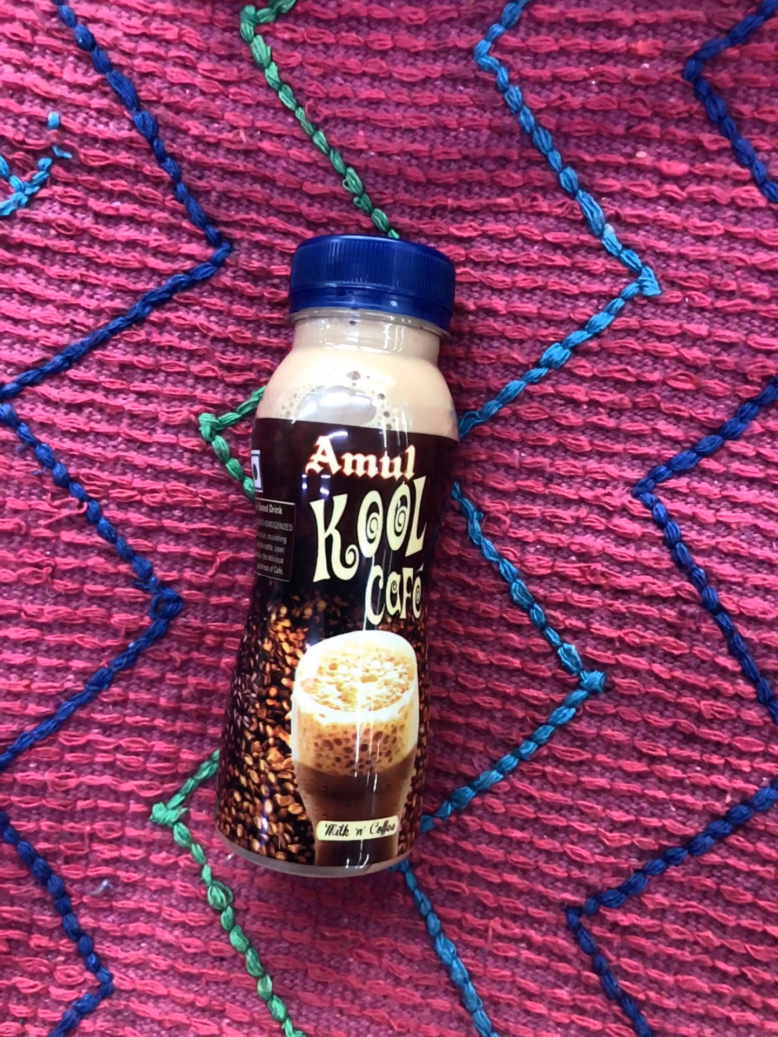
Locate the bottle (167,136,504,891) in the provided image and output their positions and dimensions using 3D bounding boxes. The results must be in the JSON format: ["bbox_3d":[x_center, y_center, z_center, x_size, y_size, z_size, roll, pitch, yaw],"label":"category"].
[{"bbox_3d":[-0.016,-0.001,0.211,0.050,0.060,0.150,4,90,-30],"label":"bottle"}]
